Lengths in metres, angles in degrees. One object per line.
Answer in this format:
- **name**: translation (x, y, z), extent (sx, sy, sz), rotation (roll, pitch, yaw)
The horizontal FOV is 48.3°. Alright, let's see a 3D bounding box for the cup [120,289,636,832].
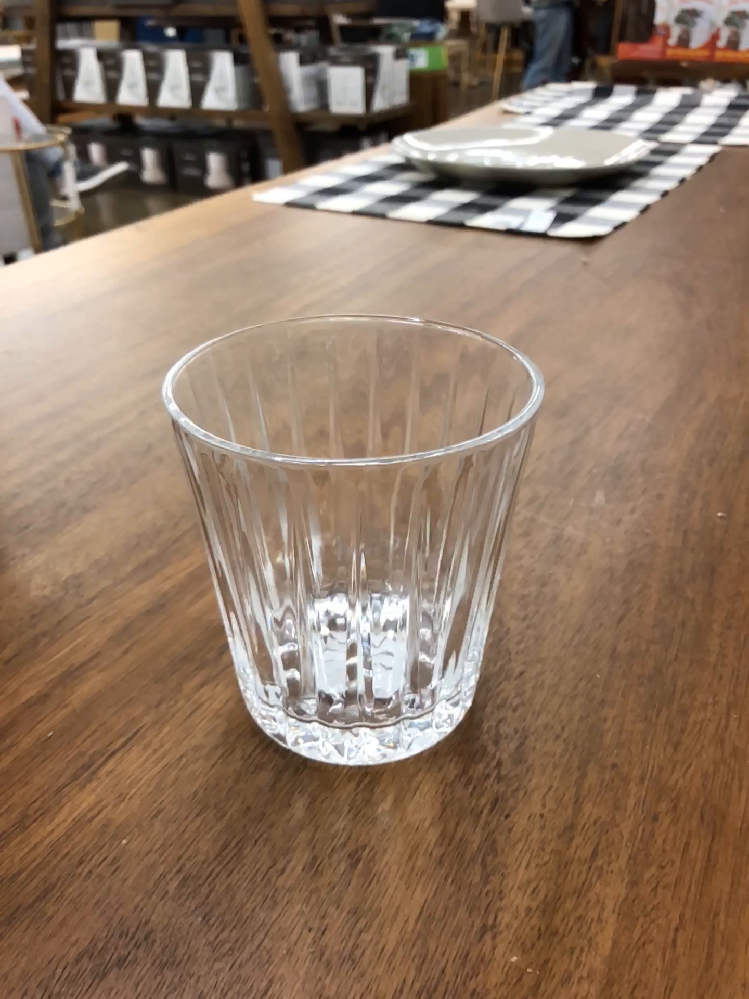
- **cup**: translation (0.001, 0.006, 0.232), extent (0.089, 0.093, 0.094), rotation (-1, 30, 1)
